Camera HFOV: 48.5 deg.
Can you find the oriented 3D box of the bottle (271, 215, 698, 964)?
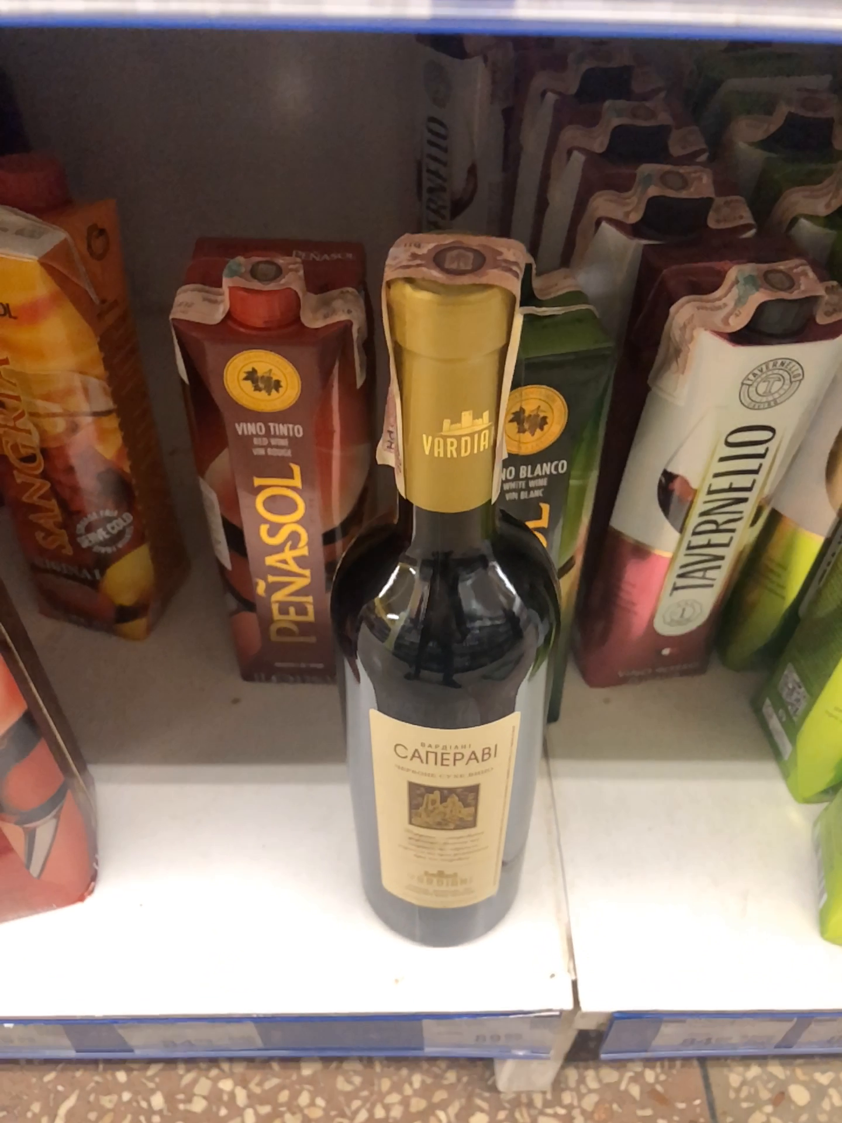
[{"bbox_3d":[0.009,0.040,0.302,0.080,0.281,0.070,2,47,0],"label":"bottle"}]
